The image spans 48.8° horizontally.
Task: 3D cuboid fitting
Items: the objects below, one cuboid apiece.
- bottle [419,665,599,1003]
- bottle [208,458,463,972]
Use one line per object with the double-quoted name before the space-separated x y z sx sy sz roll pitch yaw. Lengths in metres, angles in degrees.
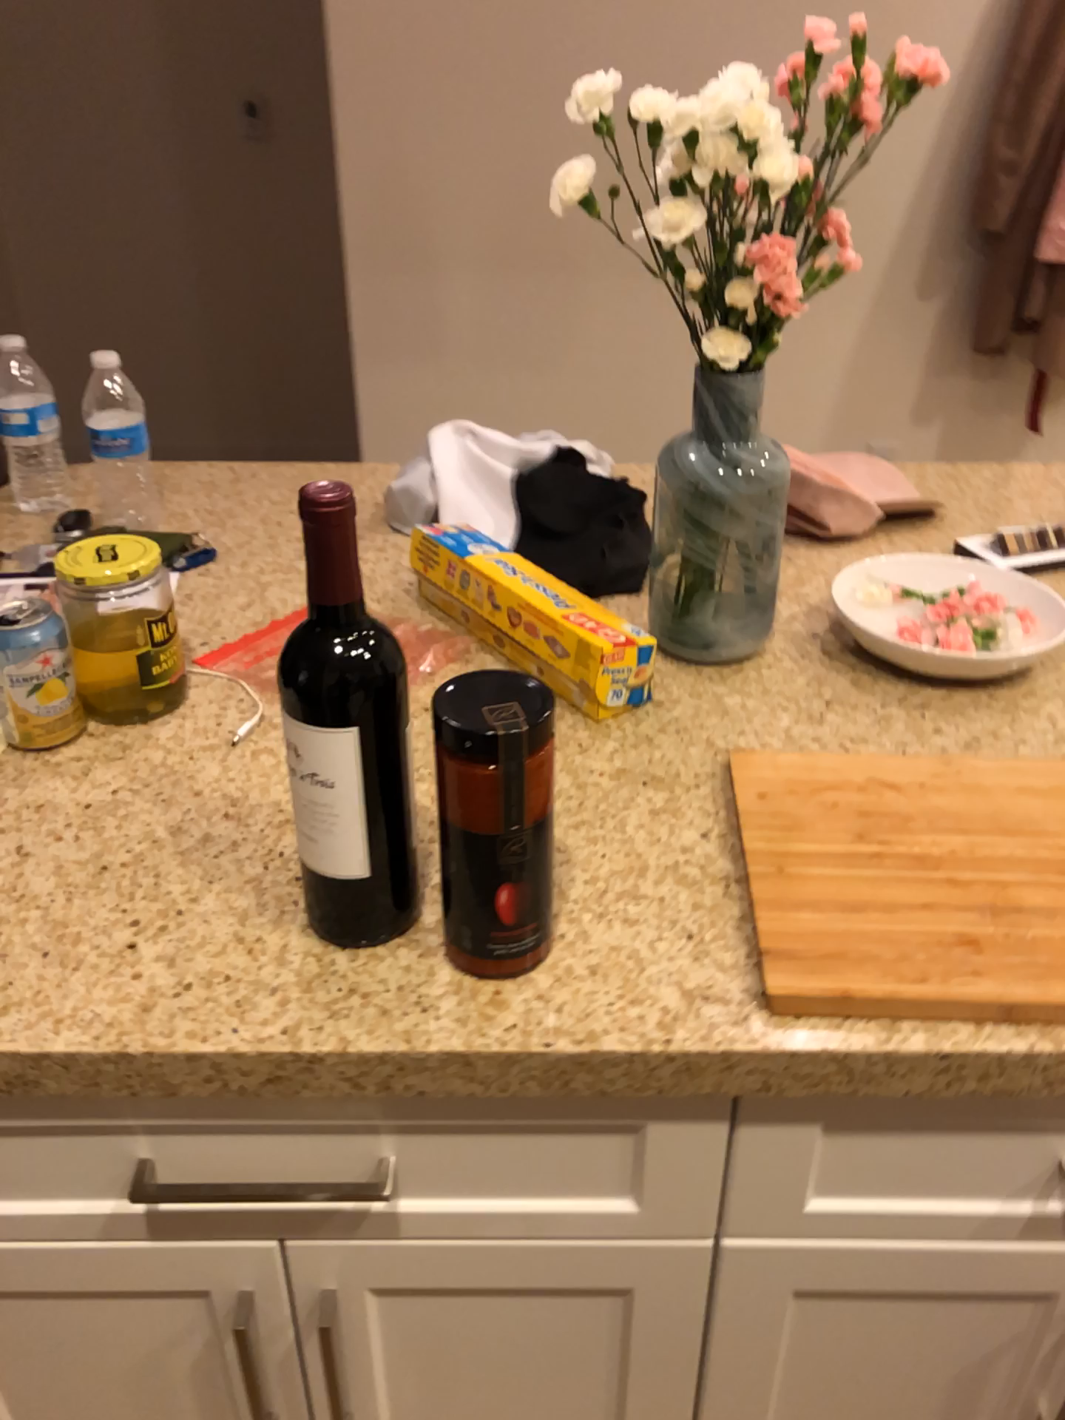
"bottle" -0.016 0.076 0.725 0.090 0.179 0.091 0 30 0
"bottle" -0.115 0.005 0.714 0.110 0.278 0.111 0 30 0
